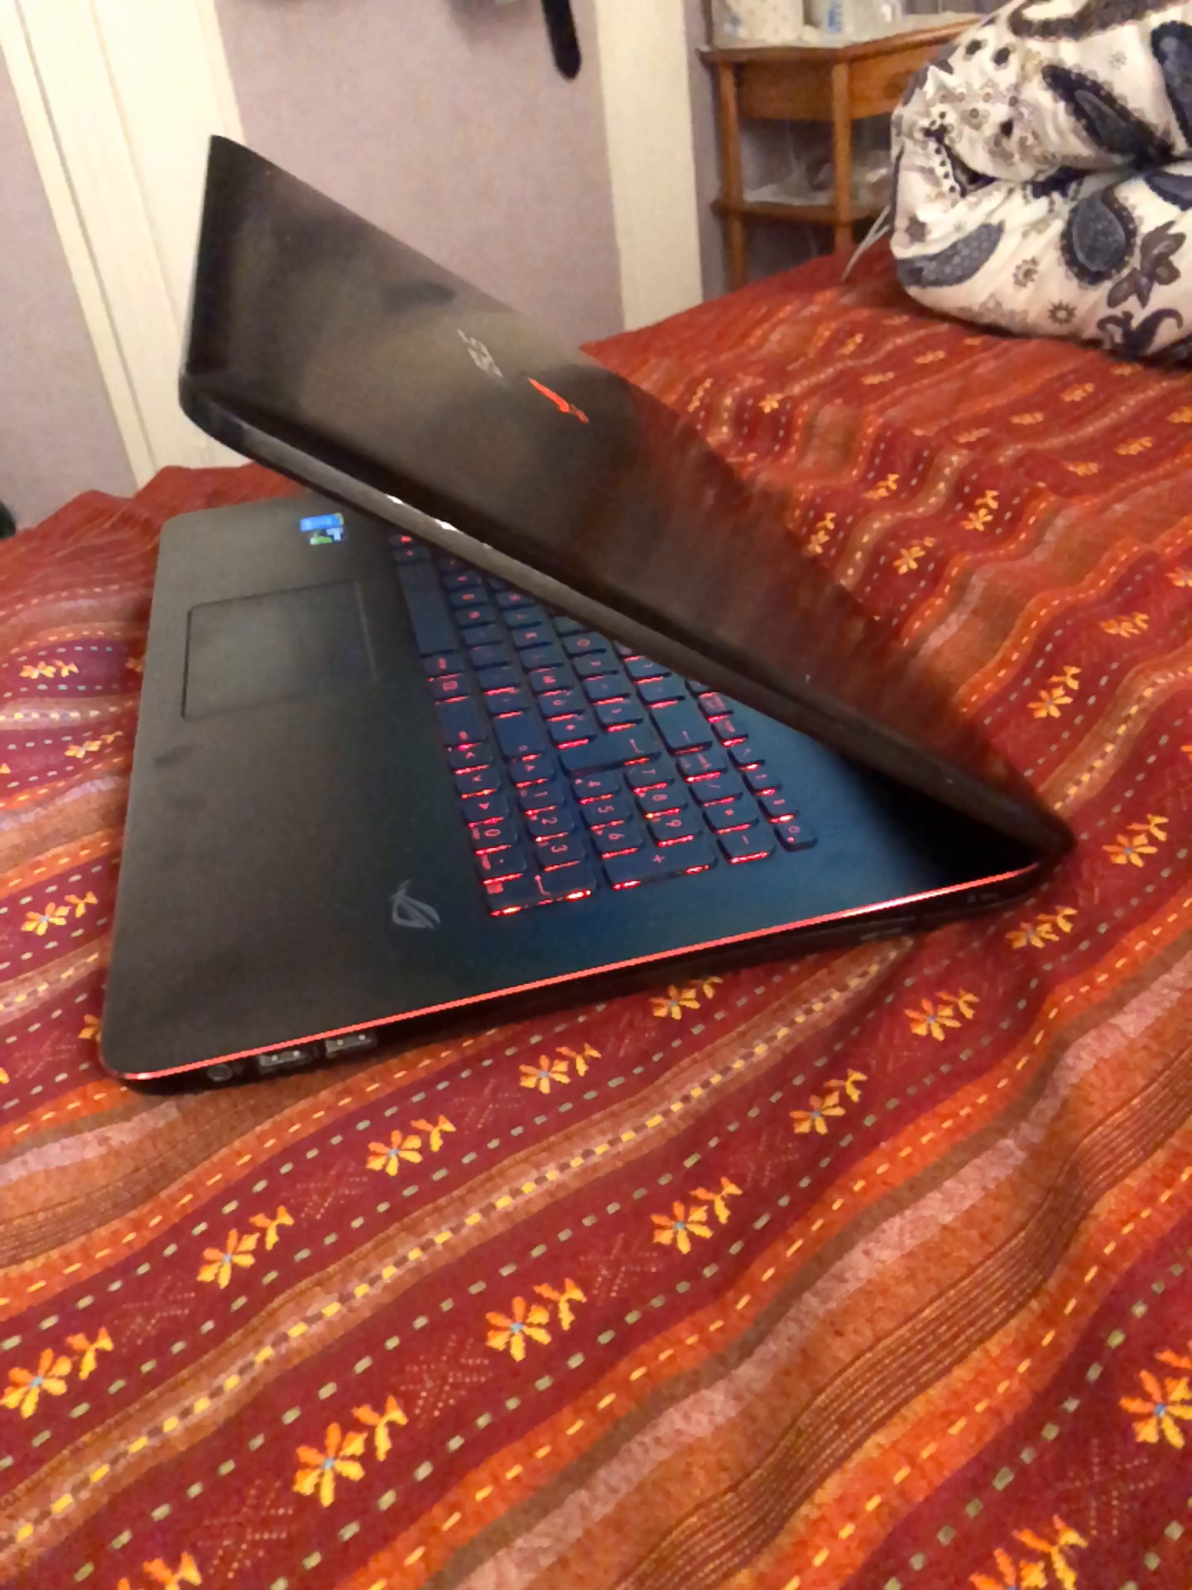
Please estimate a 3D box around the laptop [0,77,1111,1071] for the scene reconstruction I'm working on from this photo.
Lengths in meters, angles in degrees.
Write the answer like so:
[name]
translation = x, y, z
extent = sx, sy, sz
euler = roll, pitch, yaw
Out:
[laptop]
translation = -0.051, -0.132, 0.480
extent = 0.267, 0.168, 0.400
euler = -12, 34, -7
